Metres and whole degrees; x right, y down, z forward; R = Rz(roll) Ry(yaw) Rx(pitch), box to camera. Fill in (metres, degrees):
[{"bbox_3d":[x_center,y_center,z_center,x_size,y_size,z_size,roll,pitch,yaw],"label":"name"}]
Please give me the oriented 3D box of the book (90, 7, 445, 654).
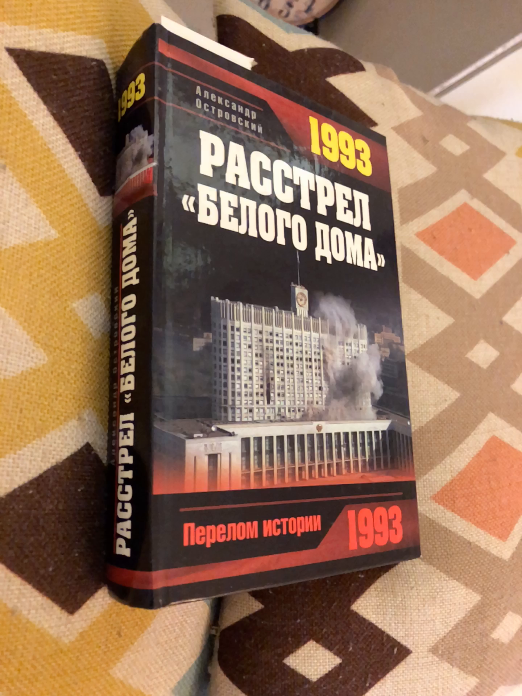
[{"bbox_3d":[0.010,-0.008,0.235,0.141,0.030,0.210,8,75,-36],"label":"book"}]
